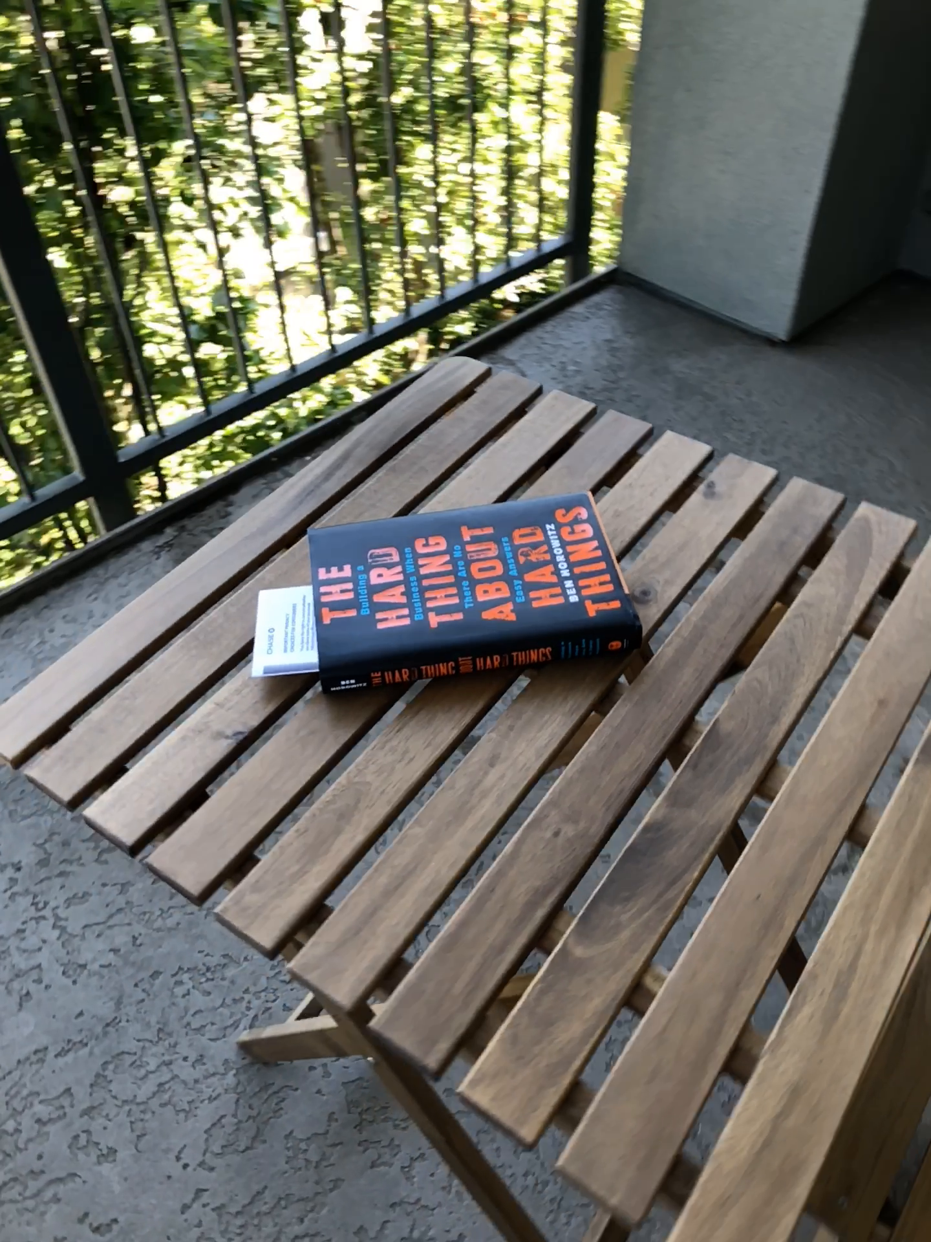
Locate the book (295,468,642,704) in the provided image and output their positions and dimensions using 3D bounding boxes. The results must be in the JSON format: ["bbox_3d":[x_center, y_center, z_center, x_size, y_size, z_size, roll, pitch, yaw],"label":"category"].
[{"bbox_3d":[-0.006,-0.034,0.803,0.240,0.040,0.181,-7,47,-5],"label":"book"}]
